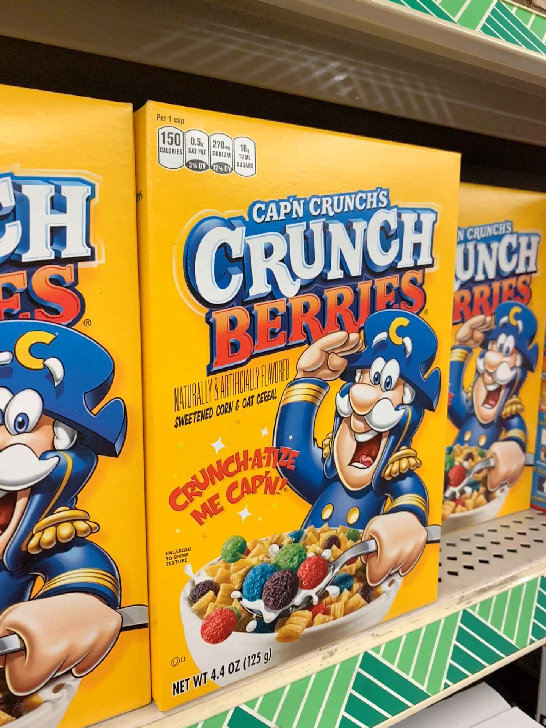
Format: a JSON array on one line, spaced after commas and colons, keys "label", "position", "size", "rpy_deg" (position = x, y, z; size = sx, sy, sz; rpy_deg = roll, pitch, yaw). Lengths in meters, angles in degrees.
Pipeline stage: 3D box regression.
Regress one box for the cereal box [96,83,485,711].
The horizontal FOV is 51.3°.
[{"label": "cereal box", "position": [0.013, 0.009, 0.238], "size": [0.150, 0.200, 0.050], "rpy_deg": [-5, 9, -31]}]
